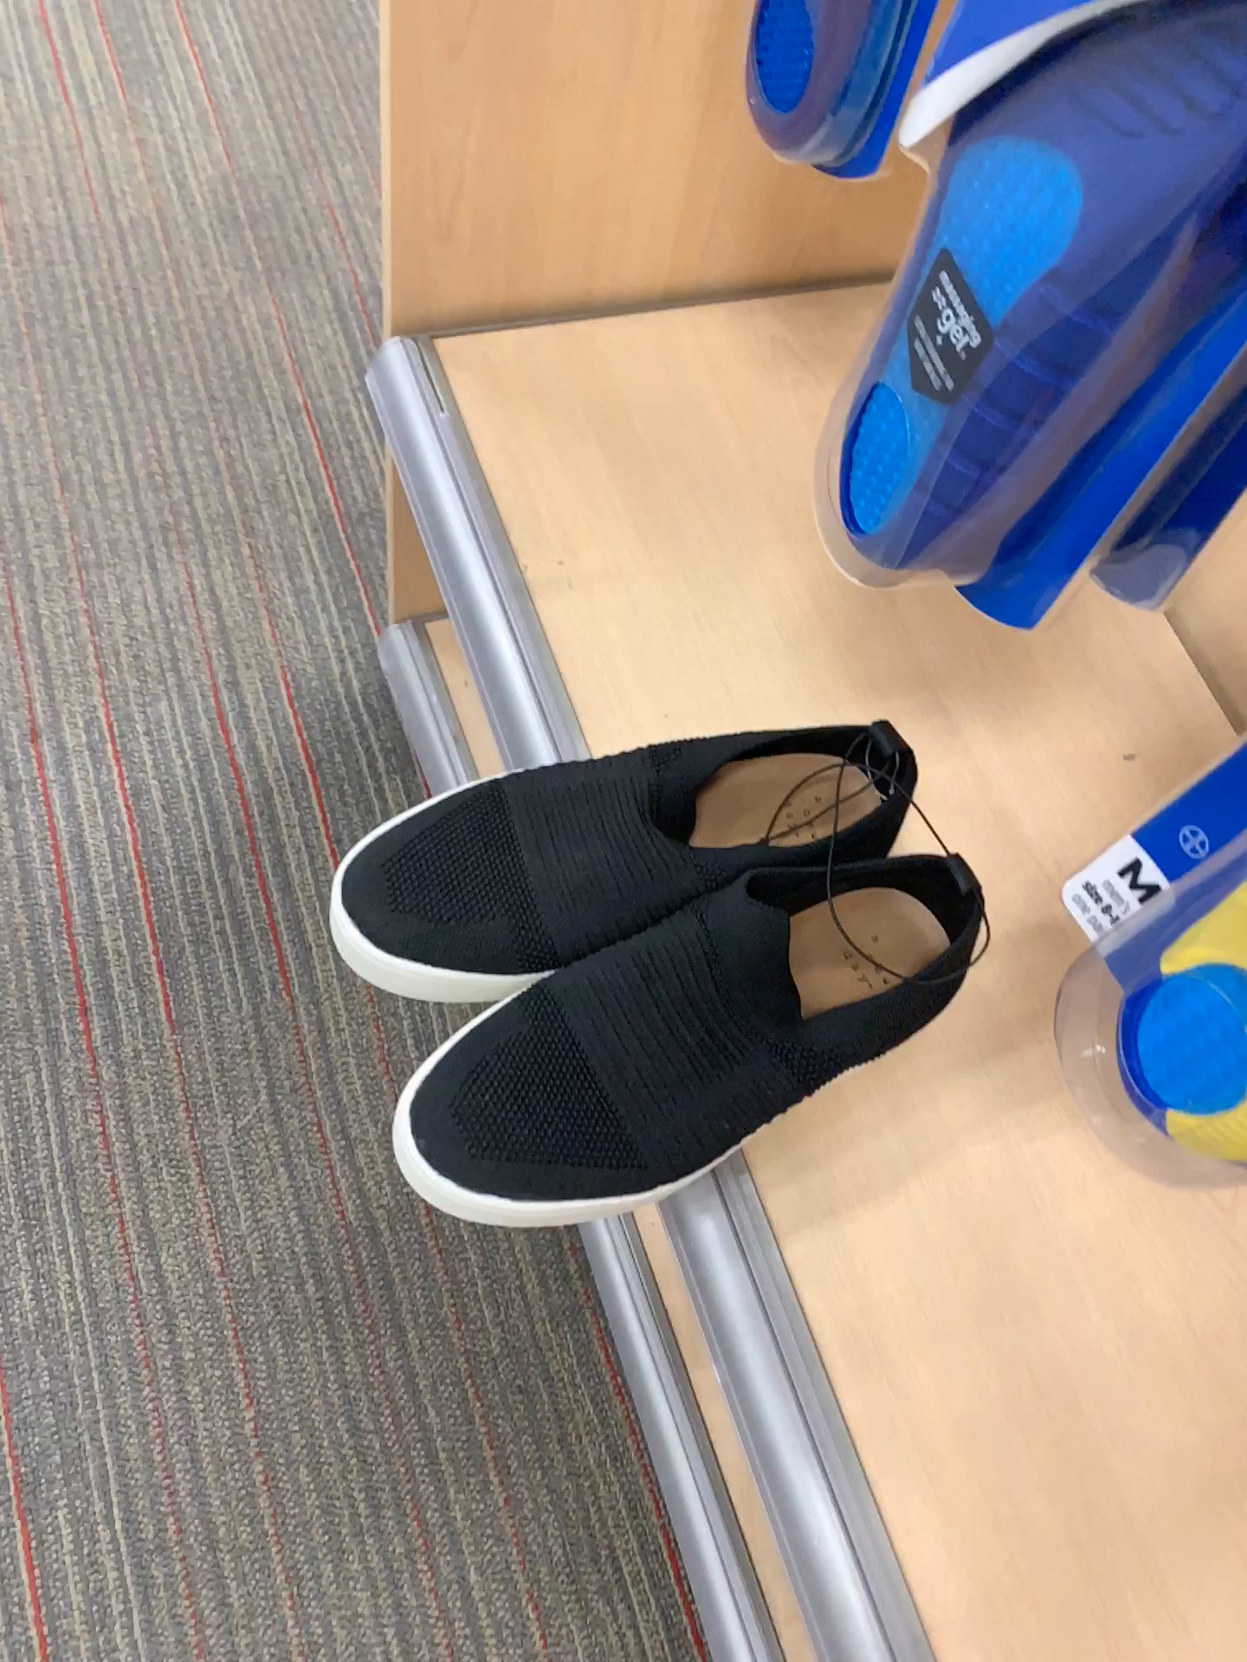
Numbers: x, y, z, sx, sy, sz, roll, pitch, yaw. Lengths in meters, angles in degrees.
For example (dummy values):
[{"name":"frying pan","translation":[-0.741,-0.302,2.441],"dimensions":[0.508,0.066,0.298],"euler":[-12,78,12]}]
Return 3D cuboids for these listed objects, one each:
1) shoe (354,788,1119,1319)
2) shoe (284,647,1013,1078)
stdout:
[{"name":"shoe","translation":[0.040,0.086,0.511],"dimensions":[0.270,0.100,0.100],"euler":[-18,68,-18]},{"name":"shoe","translation":[0.006,0.011,0.541],"dimensions":[0.270,0.100,0.100],"euler":[-11,66,-16]}]
